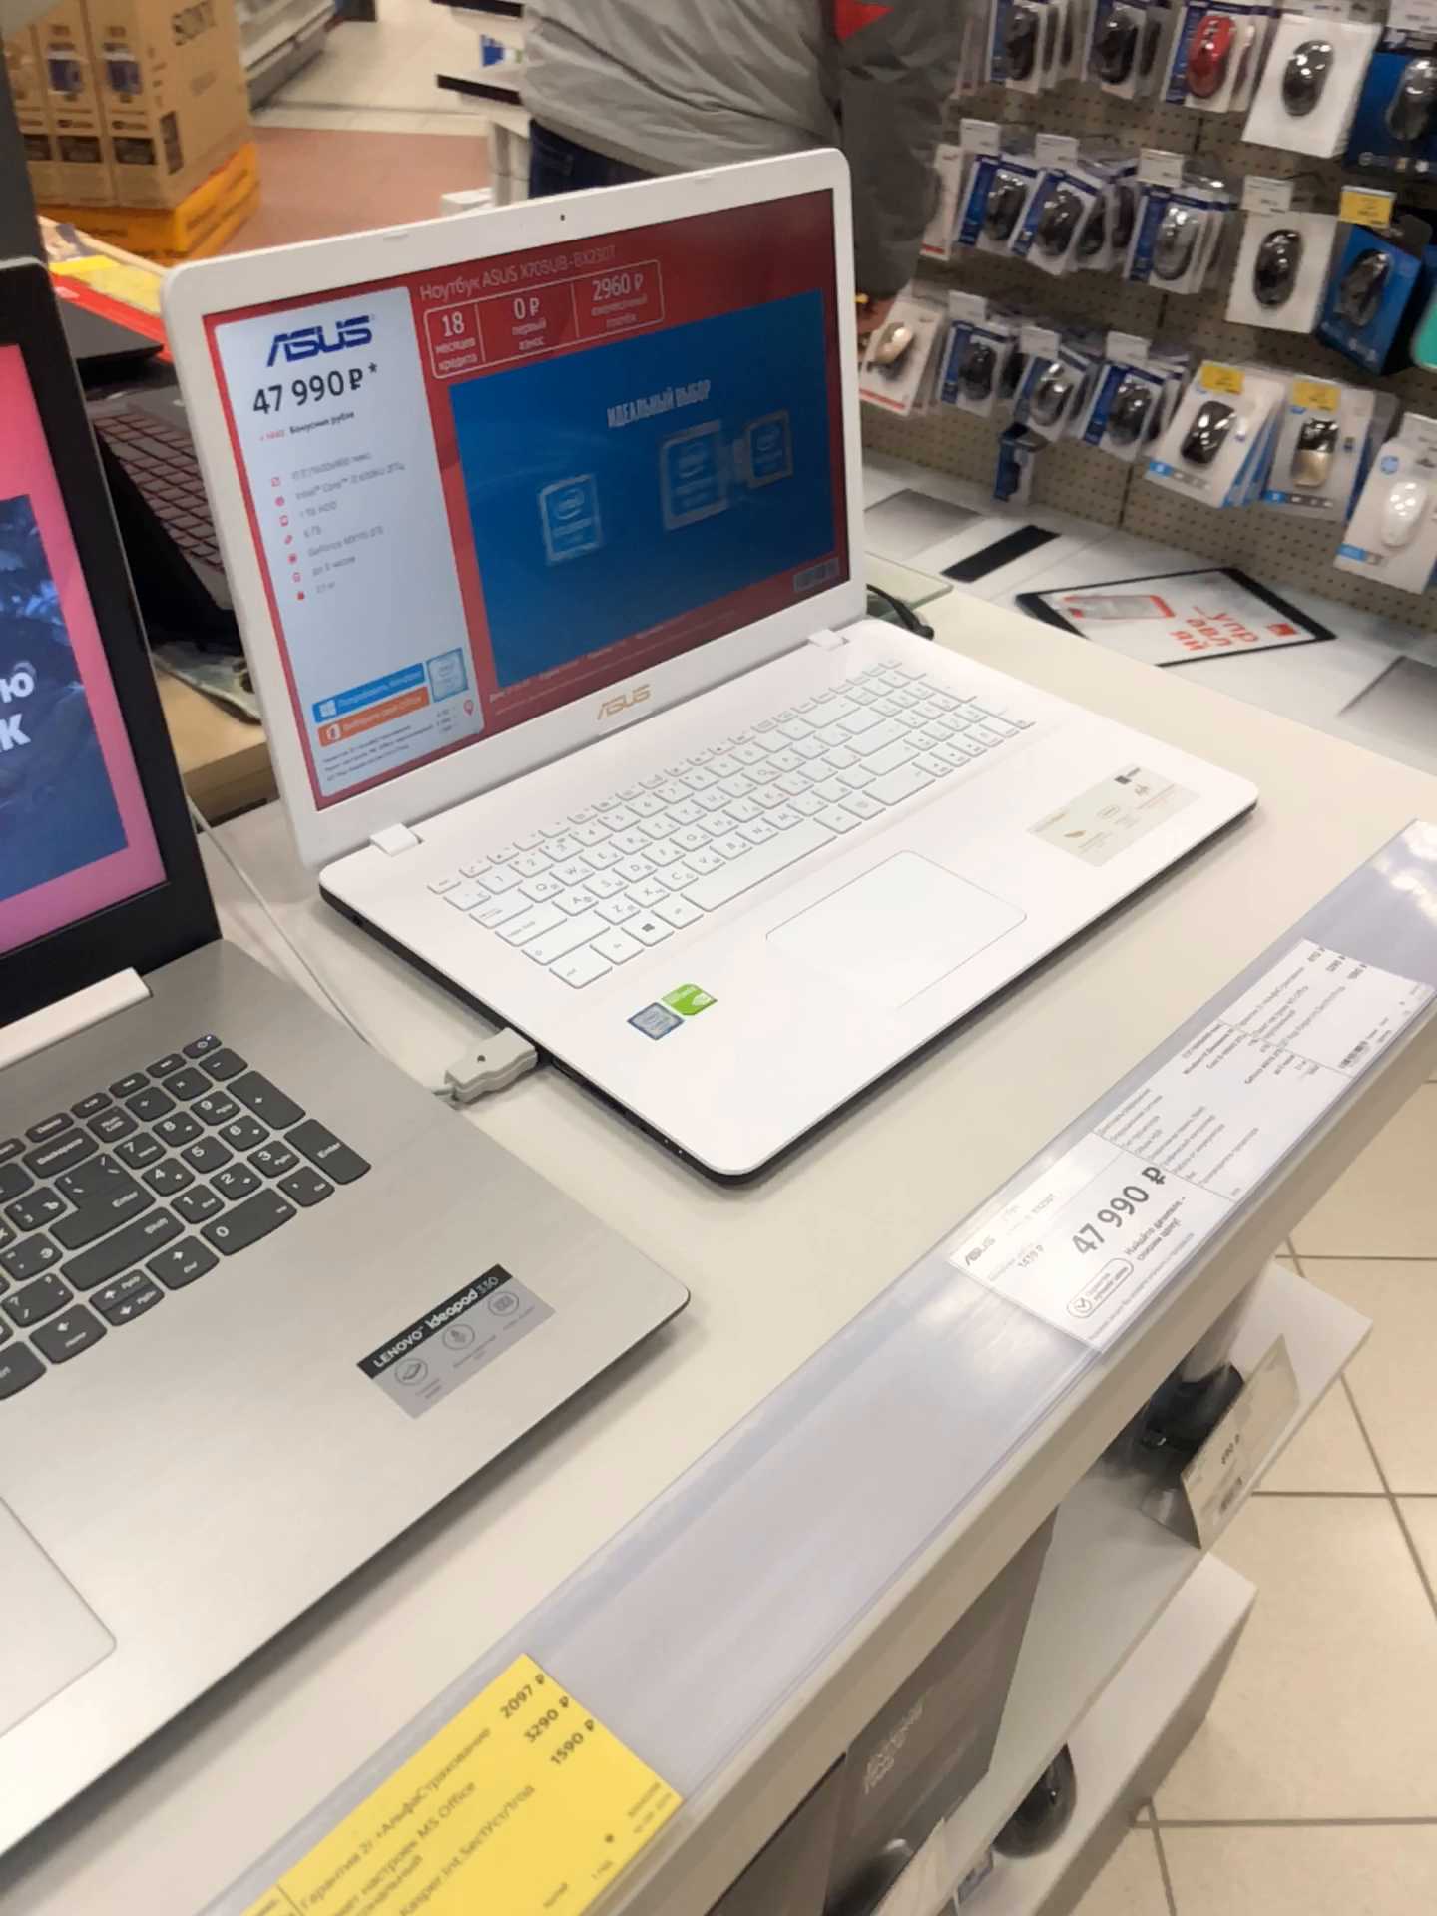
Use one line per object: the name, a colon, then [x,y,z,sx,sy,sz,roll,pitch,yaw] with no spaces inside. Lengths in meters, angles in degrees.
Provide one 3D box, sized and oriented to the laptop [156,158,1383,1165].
laptop: [0.033,-0.168,0.697,0.301,0.235,0.387,32,45,30]
